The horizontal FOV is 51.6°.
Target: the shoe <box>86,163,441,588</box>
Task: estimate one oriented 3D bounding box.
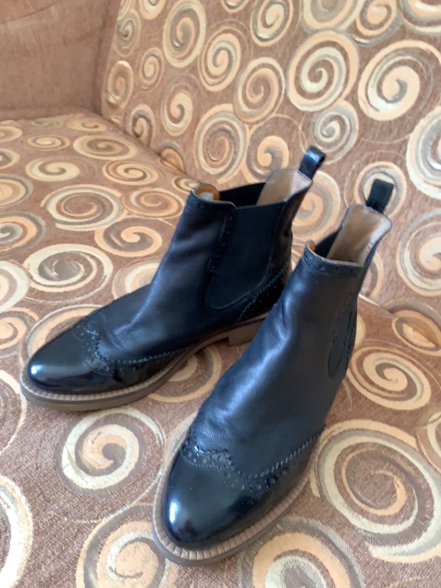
[{"bbox_3d":[0.056,0.039,0.323,0.100,0.139,0.291,26,46,20],"label":"shoe"}]

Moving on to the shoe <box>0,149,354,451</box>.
[{"bbox_3d":[-0.041,-0.006,0.349,0.240,0.139,0.100,-17,48,-24],"label":"shoe"}]
